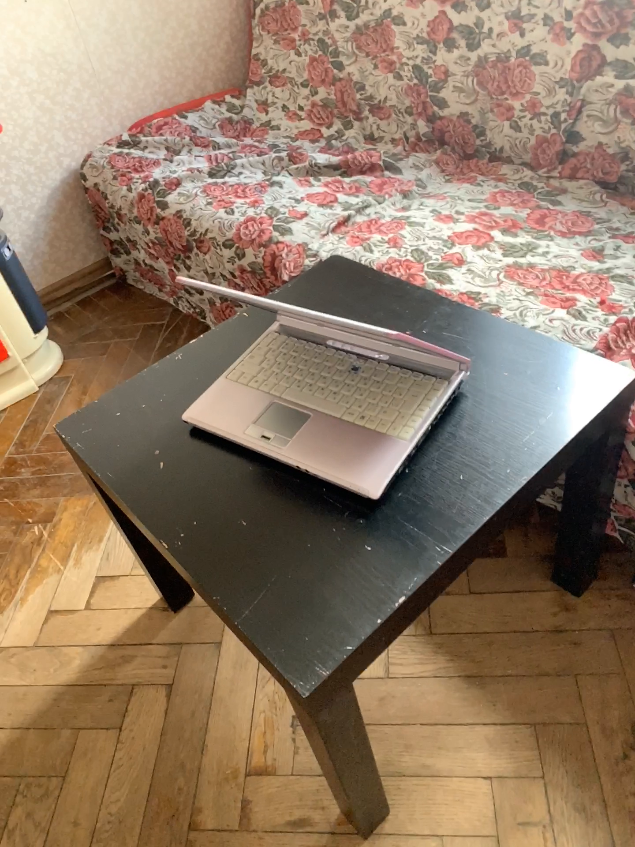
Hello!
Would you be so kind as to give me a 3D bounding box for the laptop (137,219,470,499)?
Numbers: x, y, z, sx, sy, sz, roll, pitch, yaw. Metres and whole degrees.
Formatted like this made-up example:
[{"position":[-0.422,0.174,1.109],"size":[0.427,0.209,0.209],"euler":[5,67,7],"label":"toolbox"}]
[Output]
[{"position":[-0.008,-0.095,0.770],"size":[0.306,0.156,0.226],"euler":[20,53,31],"label":"laptop"}]
